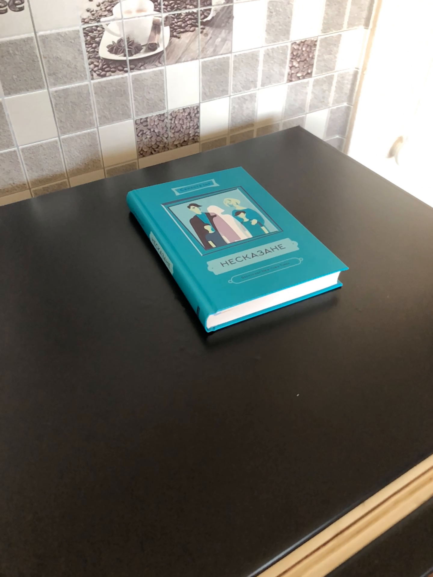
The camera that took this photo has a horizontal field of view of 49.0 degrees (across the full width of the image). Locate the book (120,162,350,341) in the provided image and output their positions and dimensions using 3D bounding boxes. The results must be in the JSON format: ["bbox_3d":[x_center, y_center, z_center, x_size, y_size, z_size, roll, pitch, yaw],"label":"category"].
[{"bbox_3d":[0.008,-0.054,0.486,0.150,0.030,0.211,-18,47,-20],"label":"book"}]
